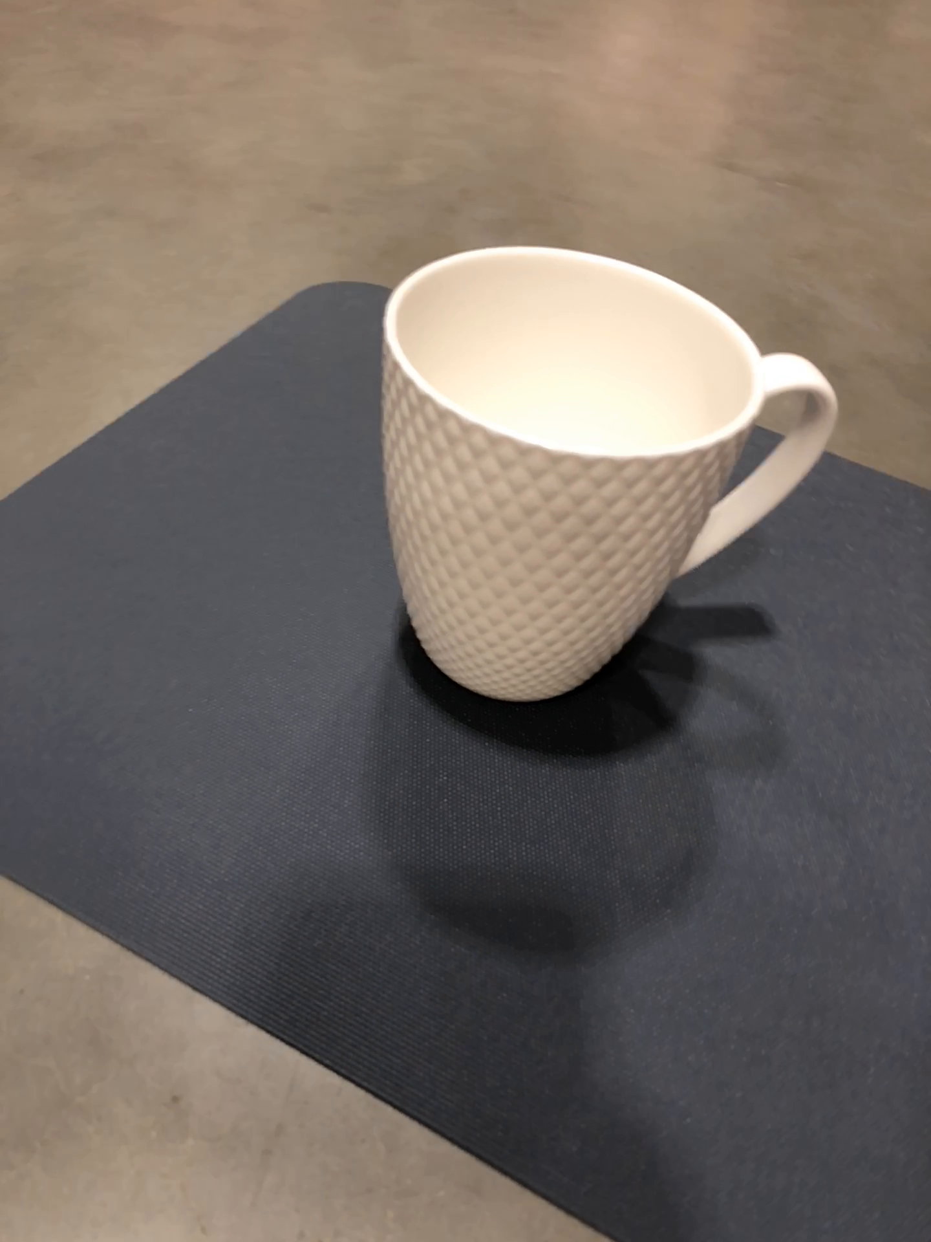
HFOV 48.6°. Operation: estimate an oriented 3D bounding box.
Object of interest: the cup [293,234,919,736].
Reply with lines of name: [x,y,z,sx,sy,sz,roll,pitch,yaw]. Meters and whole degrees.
cup: [0.025,-0.041,0.282,0.130,0.090,0.090,-7,47,-16]
